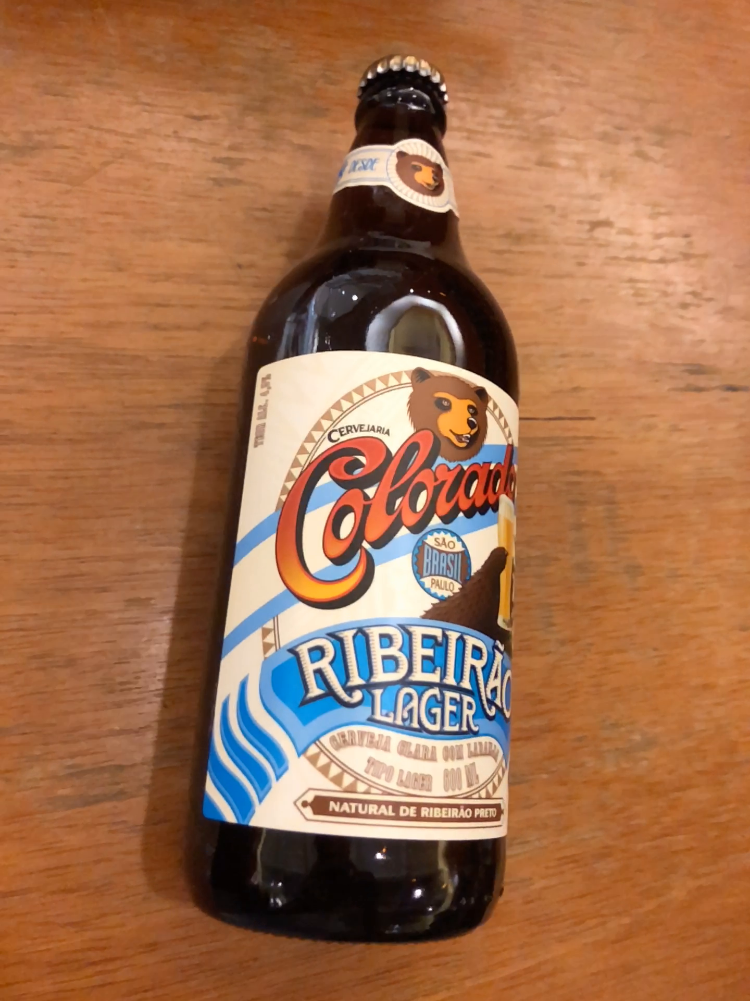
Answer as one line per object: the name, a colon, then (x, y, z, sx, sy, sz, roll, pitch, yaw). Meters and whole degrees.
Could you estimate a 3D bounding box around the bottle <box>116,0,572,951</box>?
bottle: (-0.003, -0.029, 0.229, 0.090, 0.060, 0.260, 9, 73, -17)
